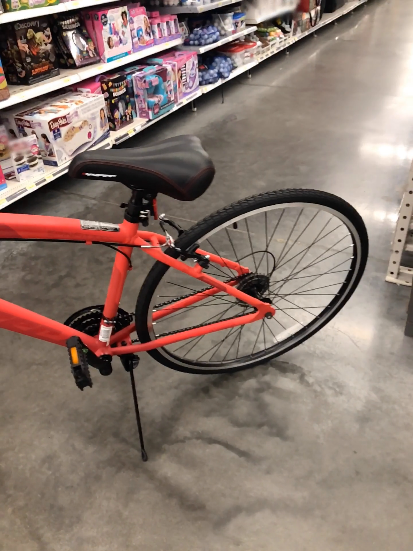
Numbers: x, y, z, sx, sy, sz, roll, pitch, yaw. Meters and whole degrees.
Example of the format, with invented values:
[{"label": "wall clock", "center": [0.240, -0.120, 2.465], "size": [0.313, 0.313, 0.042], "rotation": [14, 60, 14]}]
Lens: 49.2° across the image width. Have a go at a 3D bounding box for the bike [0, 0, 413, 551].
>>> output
[{"label": "bike", "center": [-0.347, 0.088, 0.976], "size": [1.687, 1.000, 0.616], "rotation": [-17, 38, -16]}]
